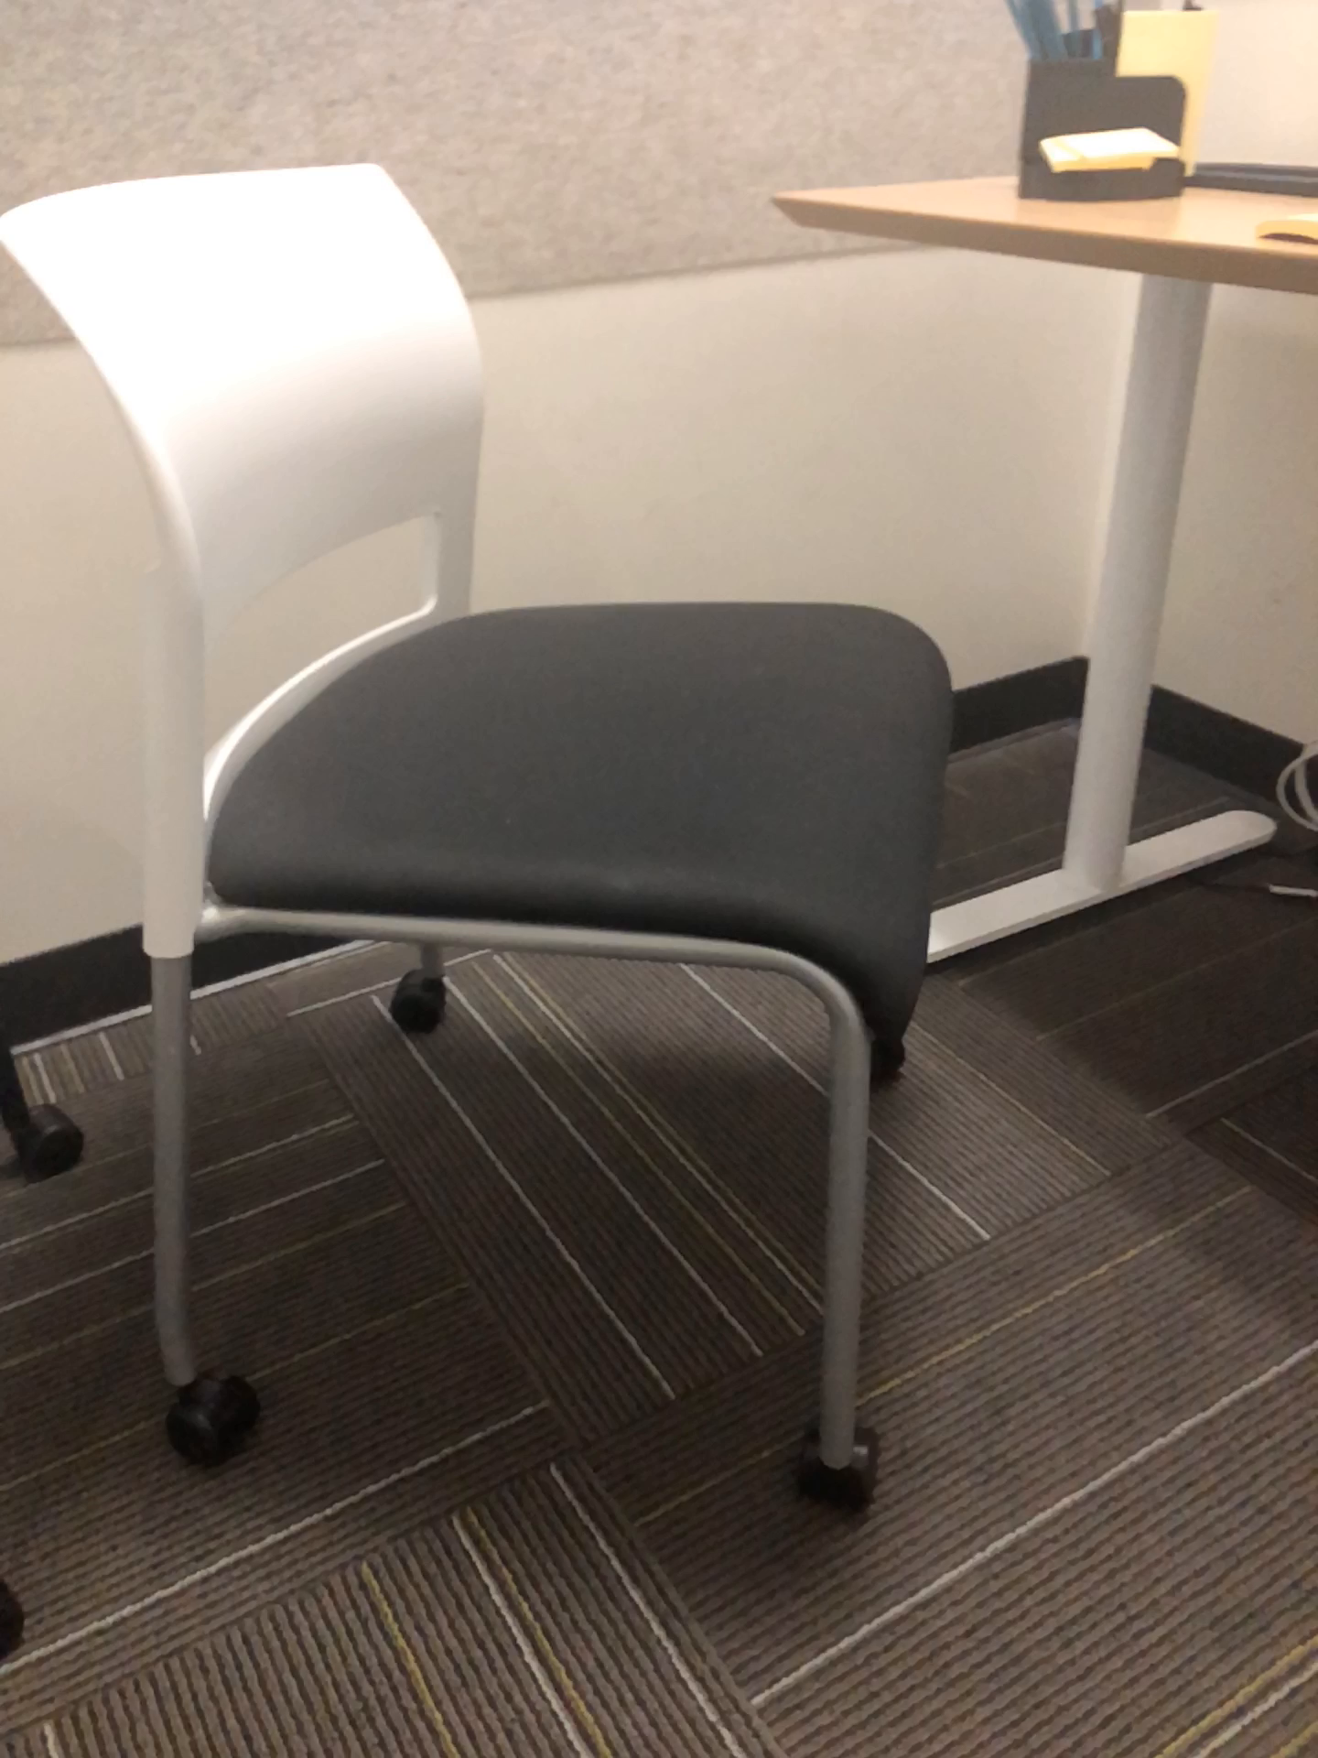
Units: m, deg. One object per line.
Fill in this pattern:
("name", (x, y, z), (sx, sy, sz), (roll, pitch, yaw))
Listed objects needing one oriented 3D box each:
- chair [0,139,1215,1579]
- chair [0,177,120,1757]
("chair", (-0.046, -0.065, 1.245), (0.650, 0.962, 0.706), (5, 29, 4))
("chair", (-0.811, 0.057, 0.997), (0.651, 0.933, 0.705), (-6, 29, -13))
